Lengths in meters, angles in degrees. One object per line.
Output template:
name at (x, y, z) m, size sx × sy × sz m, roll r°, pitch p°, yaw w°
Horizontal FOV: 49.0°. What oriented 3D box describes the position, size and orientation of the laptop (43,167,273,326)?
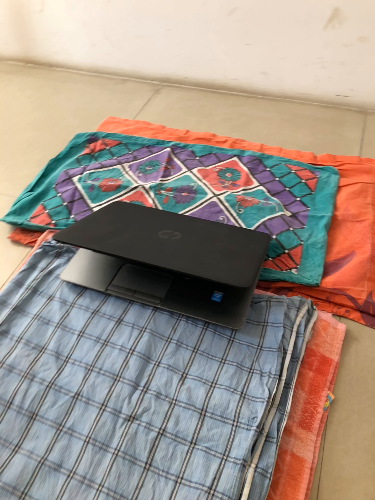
laptop at (-0.035, -0.020, 0.718) m, size 0.321 × 0.099 × 0.213 m, roll 14°, pitch 45°, yaw 12°
